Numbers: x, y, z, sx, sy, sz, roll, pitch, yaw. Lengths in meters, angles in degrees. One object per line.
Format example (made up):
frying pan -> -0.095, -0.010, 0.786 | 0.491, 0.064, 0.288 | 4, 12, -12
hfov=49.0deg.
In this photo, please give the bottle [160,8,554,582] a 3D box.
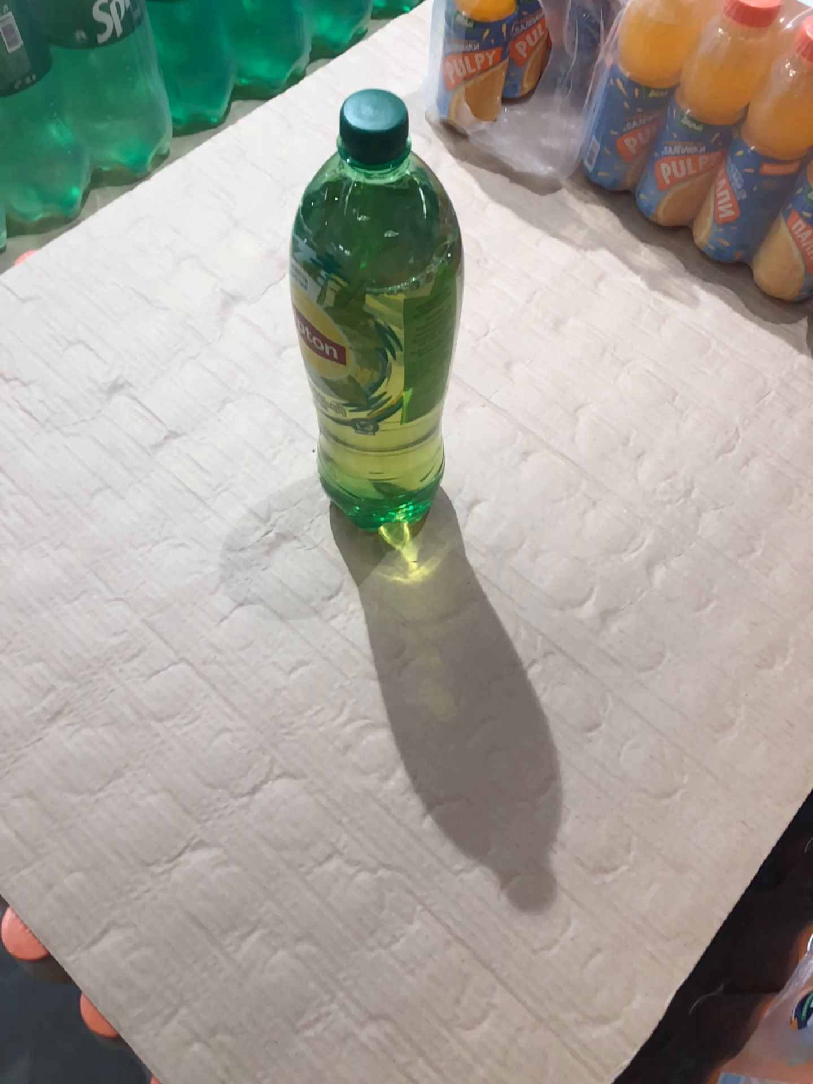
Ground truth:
bottle -> -0.025, -0.113, 0.514 | 0.120, 0.289, 0.120 | 1, 64, -2
